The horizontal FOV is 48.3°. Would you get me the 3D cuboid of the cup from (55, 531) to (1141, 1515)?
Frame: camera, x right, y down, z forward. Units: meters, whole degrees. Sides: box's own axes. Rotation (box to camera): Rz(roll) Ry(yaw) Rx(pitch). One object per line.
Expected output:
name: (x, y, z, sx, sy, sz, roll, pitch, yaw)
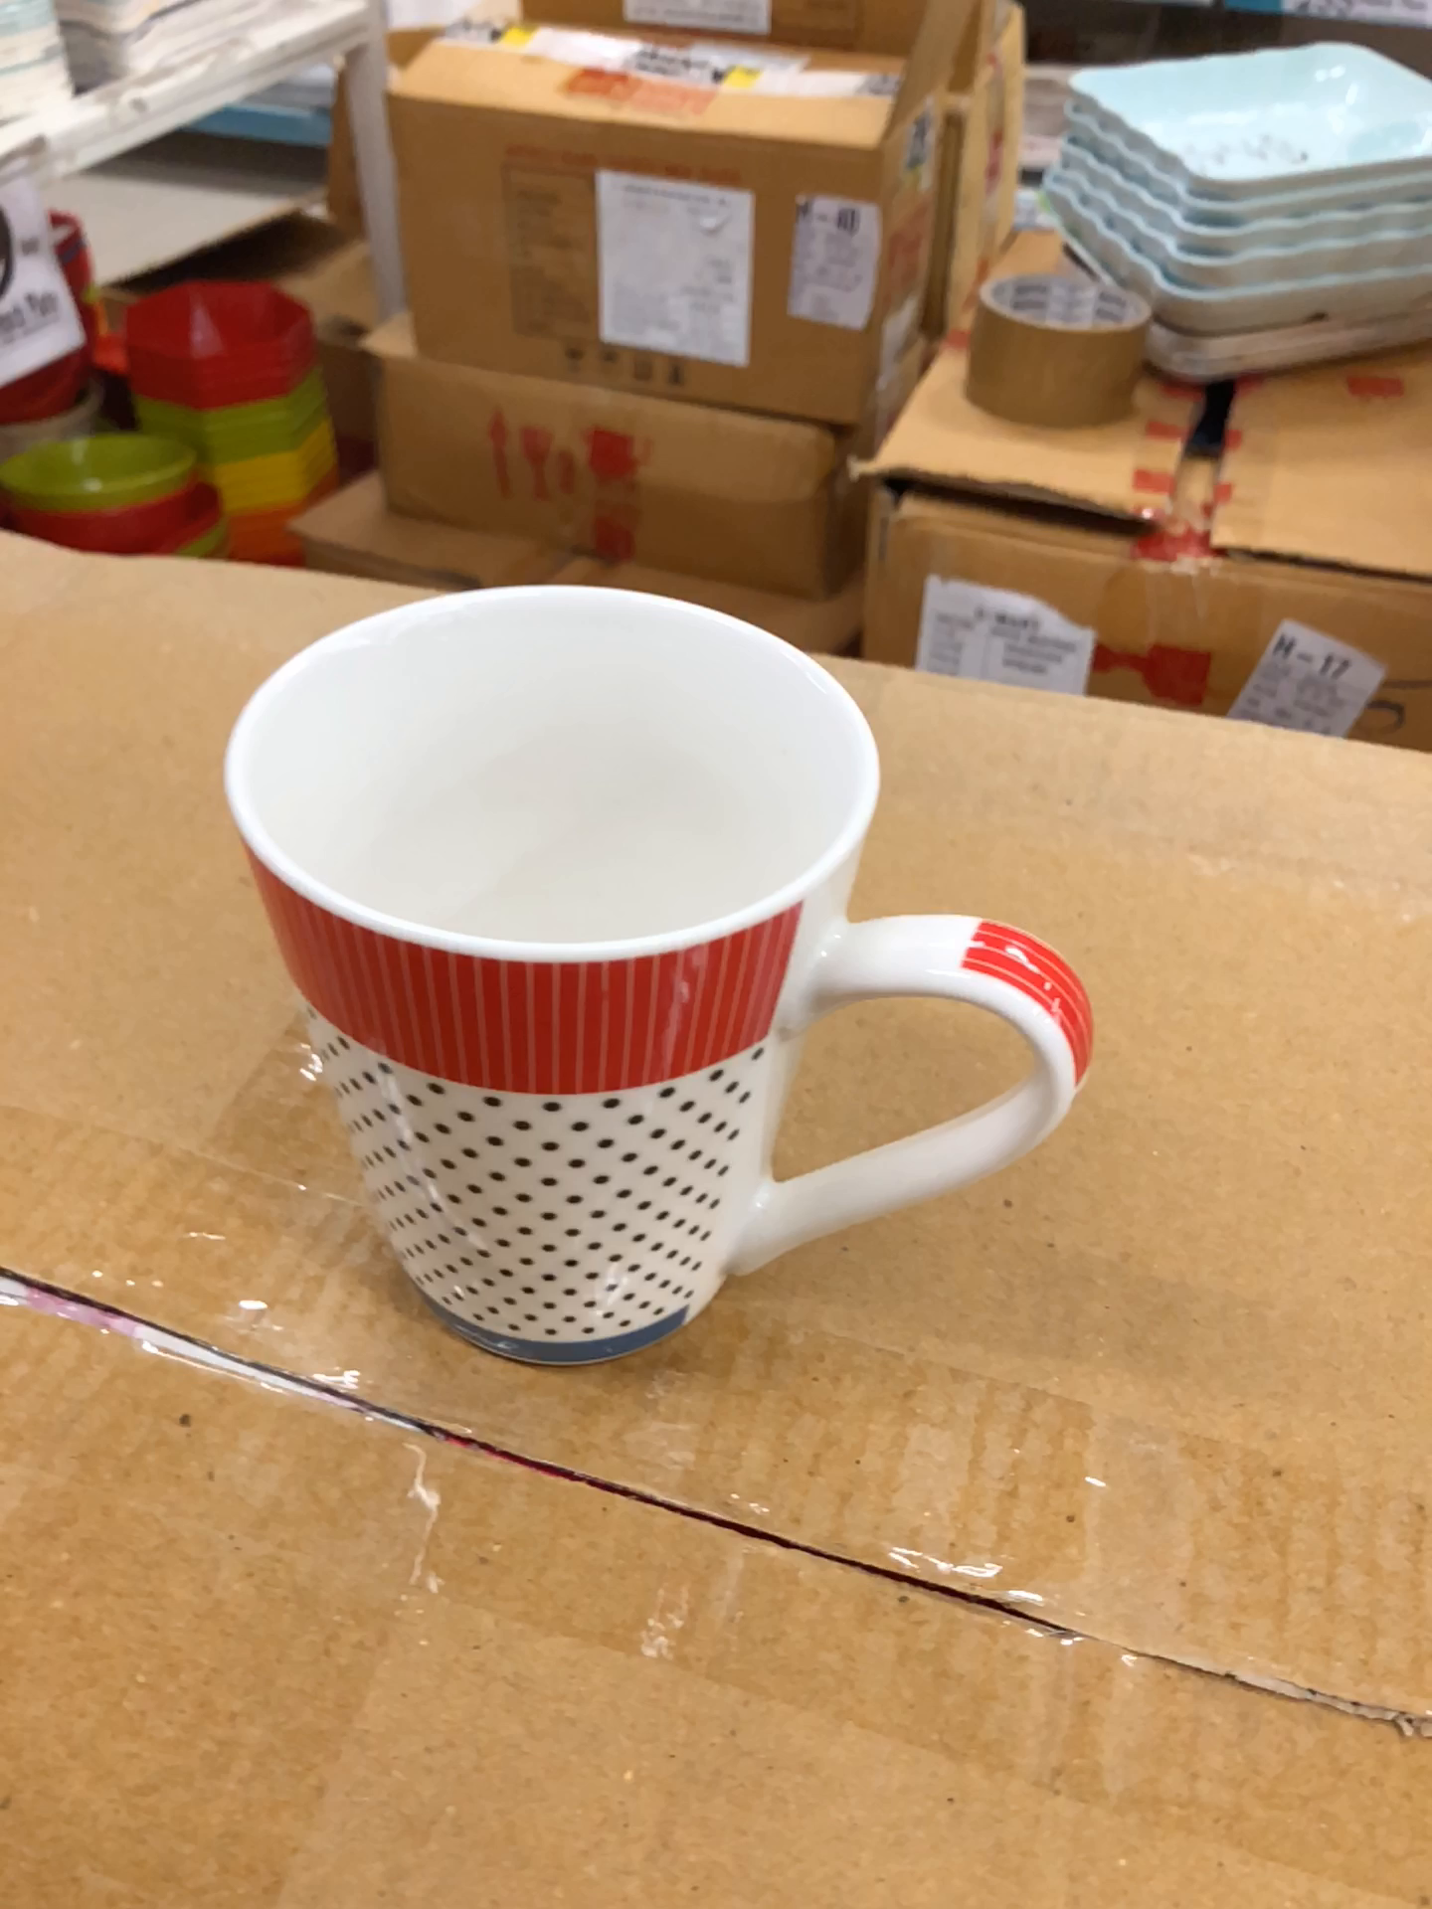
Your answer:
cup: (-0.008, 0.006, 0.236, 0.120, 0.089, 0.091, 9, 41, 9)
